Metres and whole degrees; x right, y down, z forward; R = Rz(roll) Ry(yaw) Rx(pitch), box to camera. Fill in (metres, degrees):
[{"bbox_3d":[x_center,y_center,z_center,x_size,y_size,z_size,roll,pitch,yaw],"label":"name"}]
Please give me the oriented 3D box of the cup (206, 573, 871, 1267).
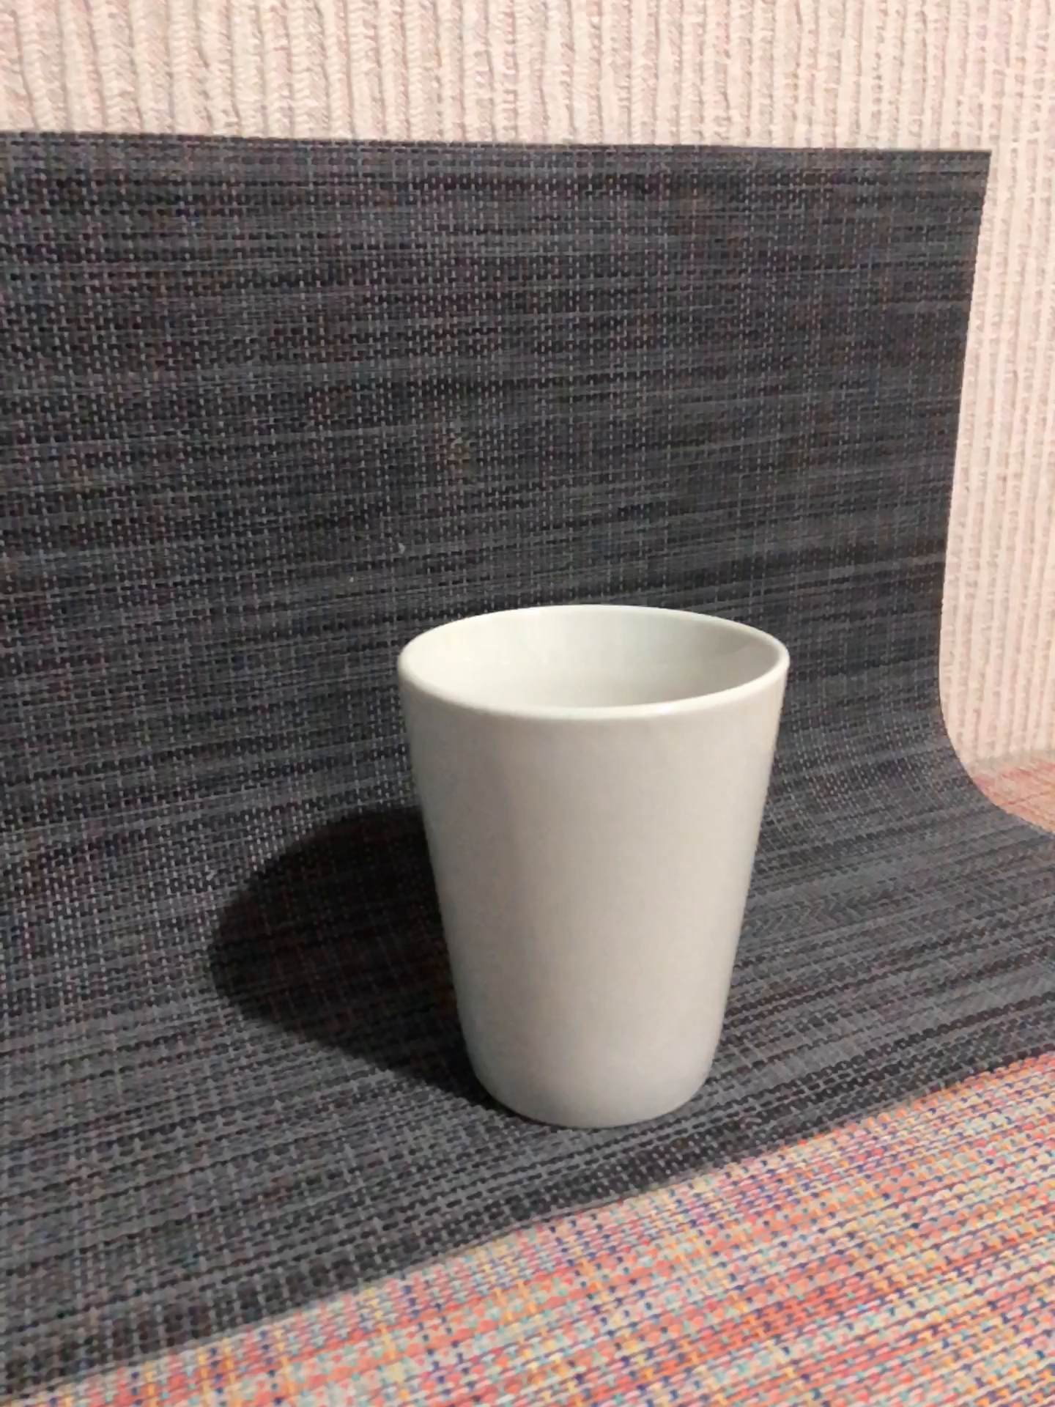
[{"bbox_3d":[0.008,0.033,0.265,0.096,0.096,0.112,11,22,35],"label":"cup"}]
